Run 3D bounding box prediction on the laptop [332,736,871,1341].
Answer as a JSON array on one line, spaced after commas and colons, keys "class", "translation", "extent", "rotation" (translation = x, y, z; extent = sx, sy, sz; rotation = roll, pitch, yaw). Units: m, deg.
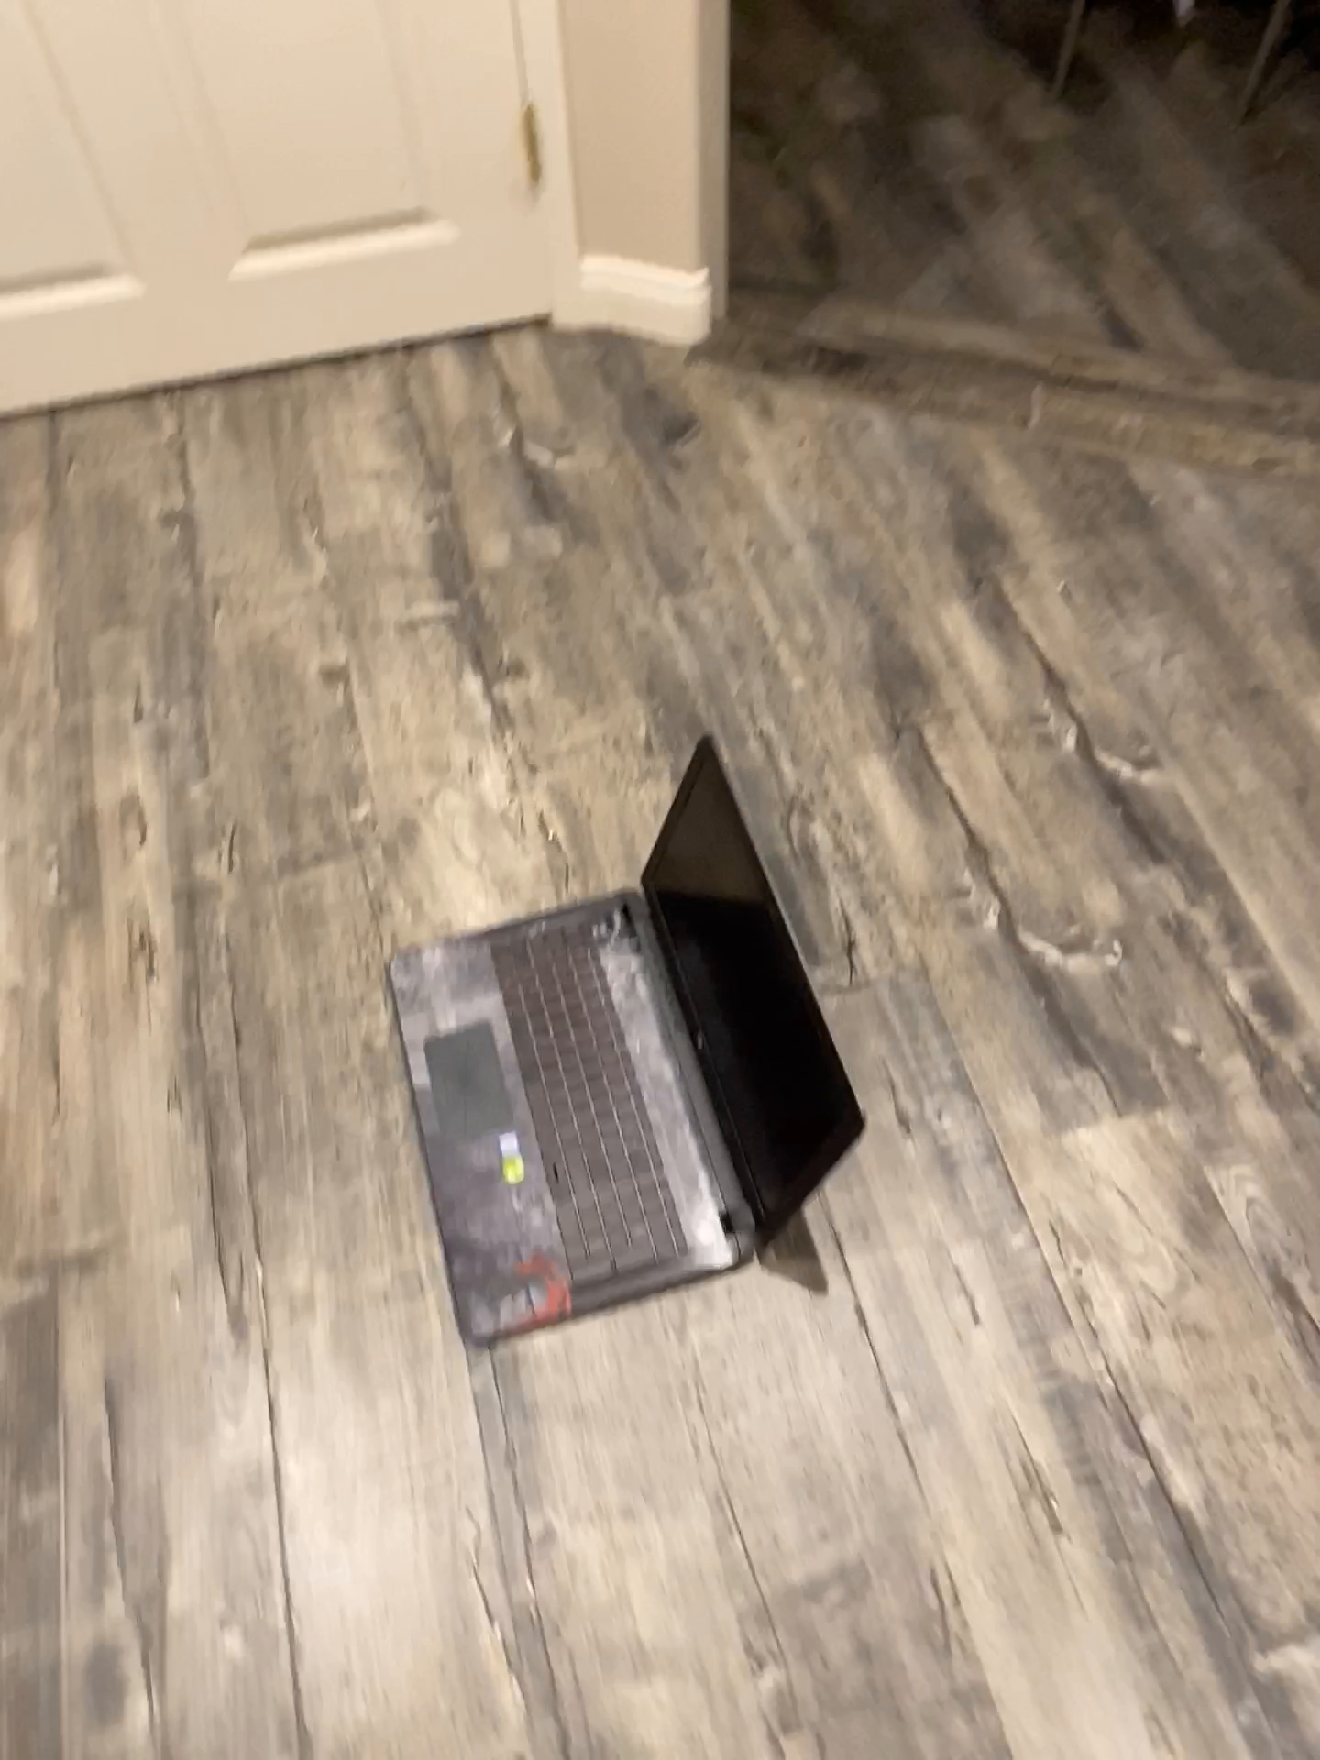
[{"class": "laptop", "translation": [-0.057, 0.128, 1.125], "extent": [0.327, 0.225, 0.372], "rotation": [-15, 57, -7]}]
